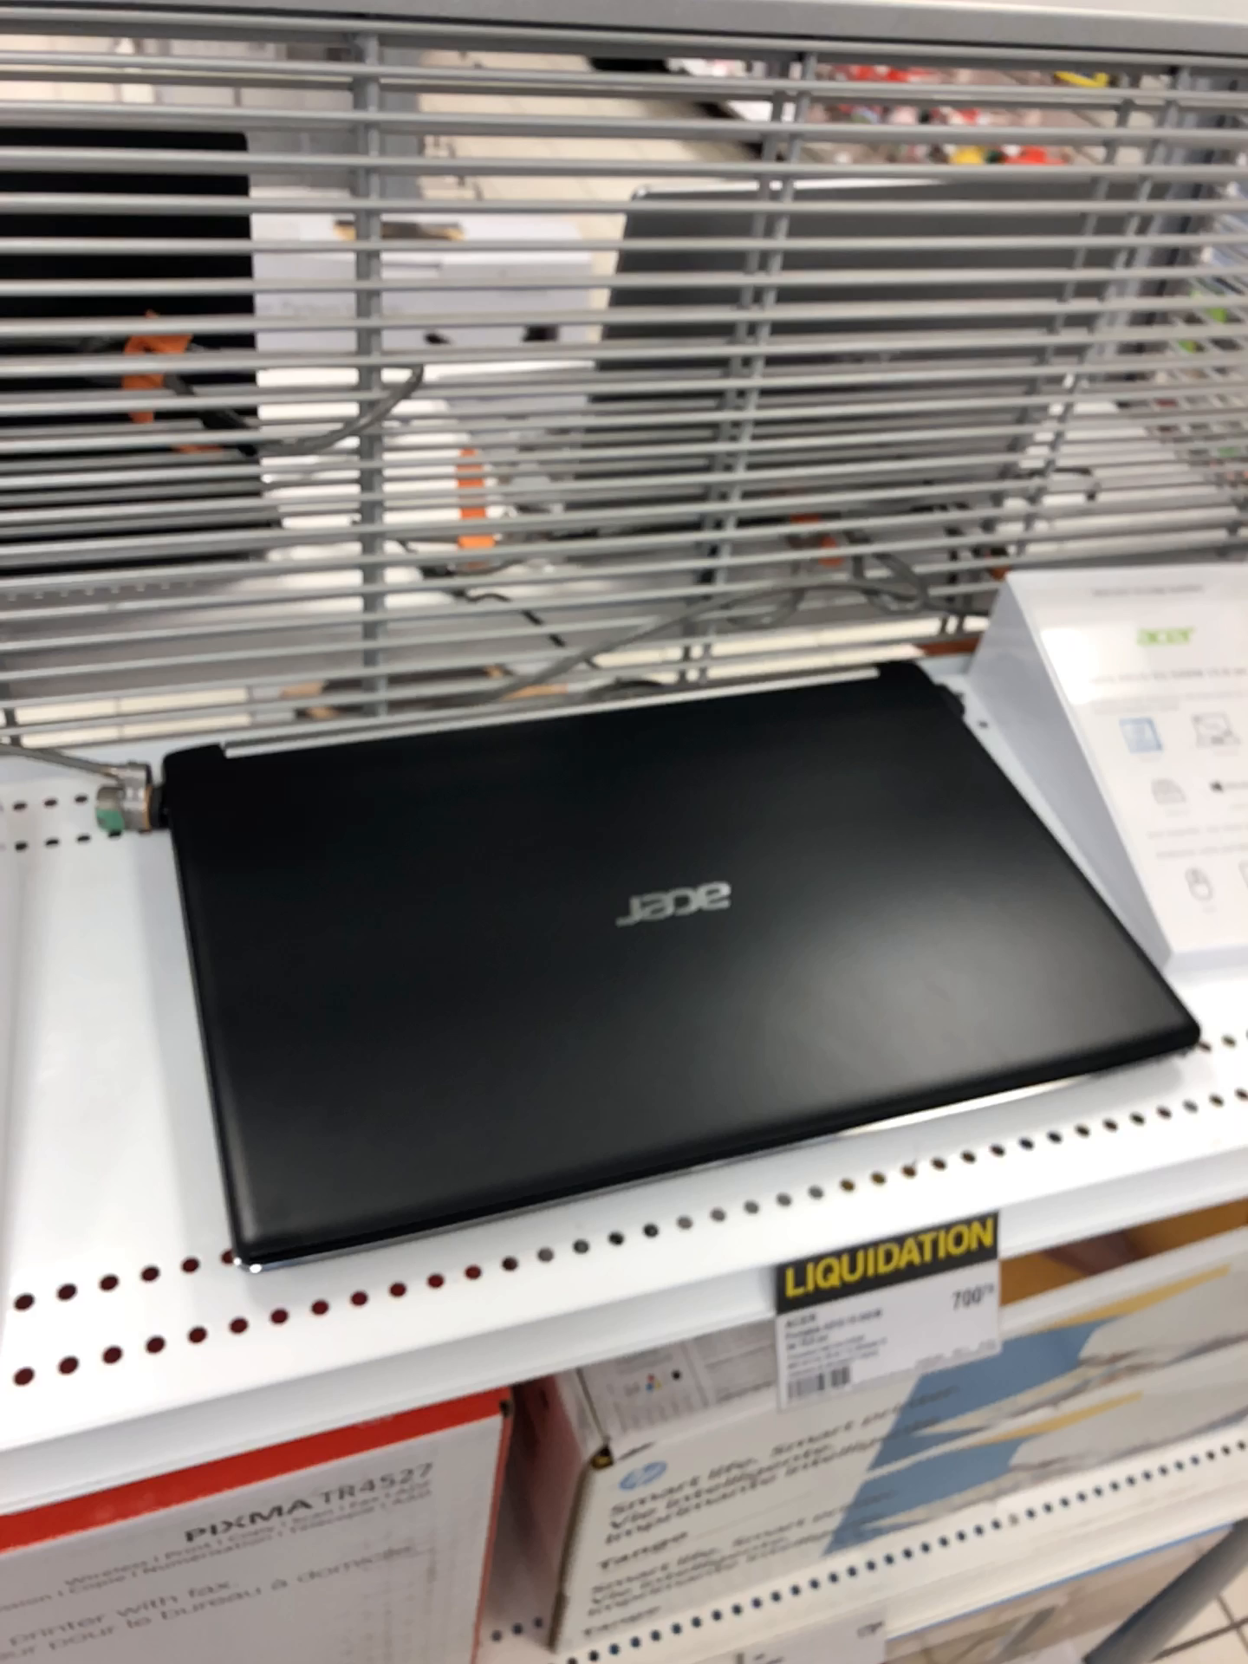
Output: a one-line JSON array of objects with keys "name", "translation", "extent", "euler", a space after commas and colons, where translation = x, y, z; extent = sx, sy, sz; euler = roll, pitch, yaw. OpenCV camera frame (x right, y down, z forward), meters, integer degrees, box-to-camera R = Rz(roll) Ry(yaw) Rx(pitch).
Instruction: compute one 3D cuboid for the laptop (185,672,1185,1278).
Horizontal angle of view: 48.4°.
[{"name": "laptop", "translation": [0.018, 0.031, 0.570], "extent": [0.362, 0.012, 0.228], "euler": [-9, 47, -18]}]
